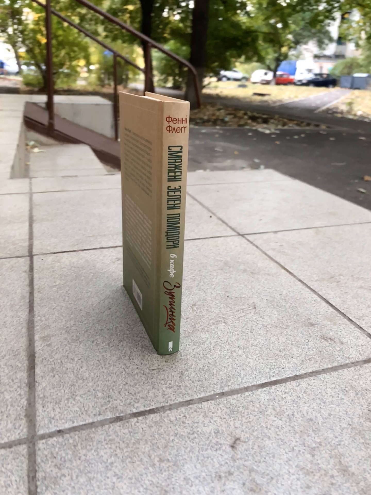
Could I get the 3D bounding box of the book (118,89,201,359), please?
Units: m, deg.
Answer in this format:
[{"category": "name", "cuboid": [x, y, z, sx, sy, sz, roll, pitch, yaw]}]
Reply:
[{"category": "book", "cuboid": [-0.030, -0.030, 0.375, 0.030, 0.209, 0.141, -6, 23, -19]}]
